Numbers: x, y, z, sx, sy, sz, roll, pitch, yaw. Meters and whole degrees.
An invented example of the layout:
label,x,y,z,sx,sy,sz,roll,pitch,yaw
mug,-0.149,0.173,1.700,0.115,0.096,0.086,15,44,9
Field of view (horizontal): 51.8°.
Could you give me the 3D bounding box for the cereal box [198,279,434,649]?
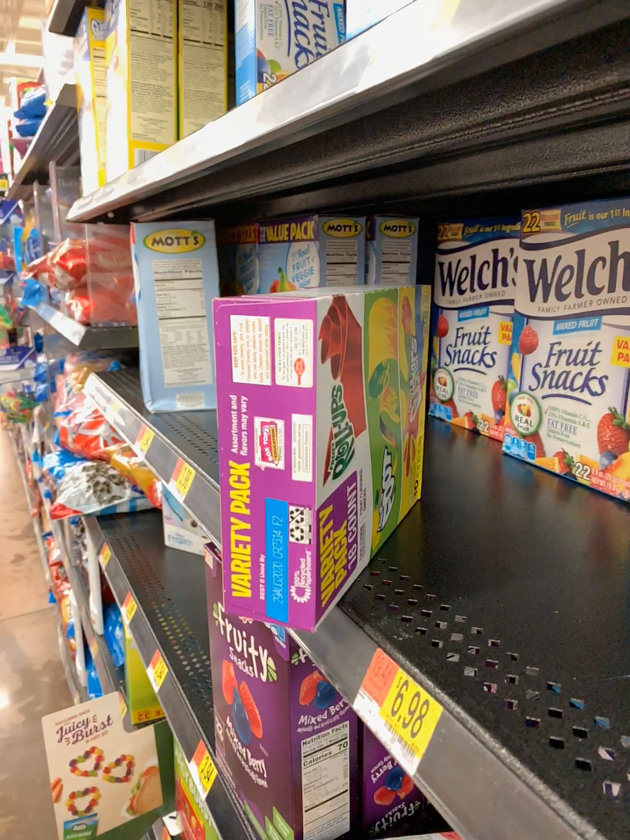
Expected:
label,x,y,z,sx,sy,sz,roll,pitch,yaw
cereal box,0.017,0.002,0.408,0.060,0.169,0.221,5,15,23
